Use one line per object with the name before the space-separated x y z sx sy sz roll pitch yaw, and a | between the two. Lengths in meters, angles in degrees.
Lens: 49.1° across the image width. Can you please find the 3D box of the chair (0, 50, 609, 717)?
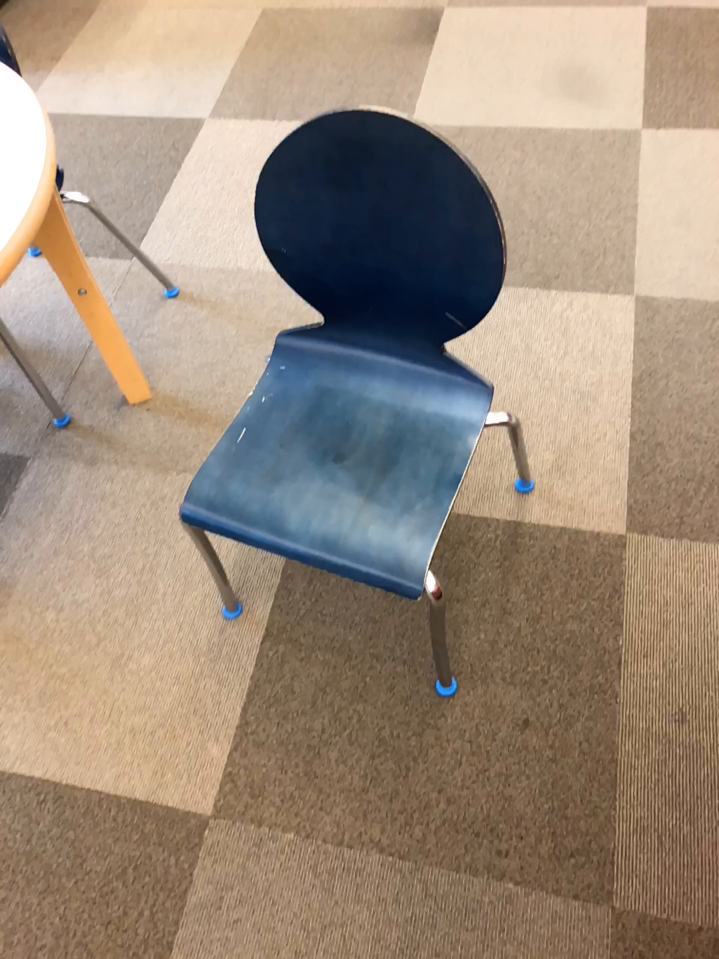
chair | -0.018 -0.088 1.083 0.497 0.699 0.474 16 60 17
